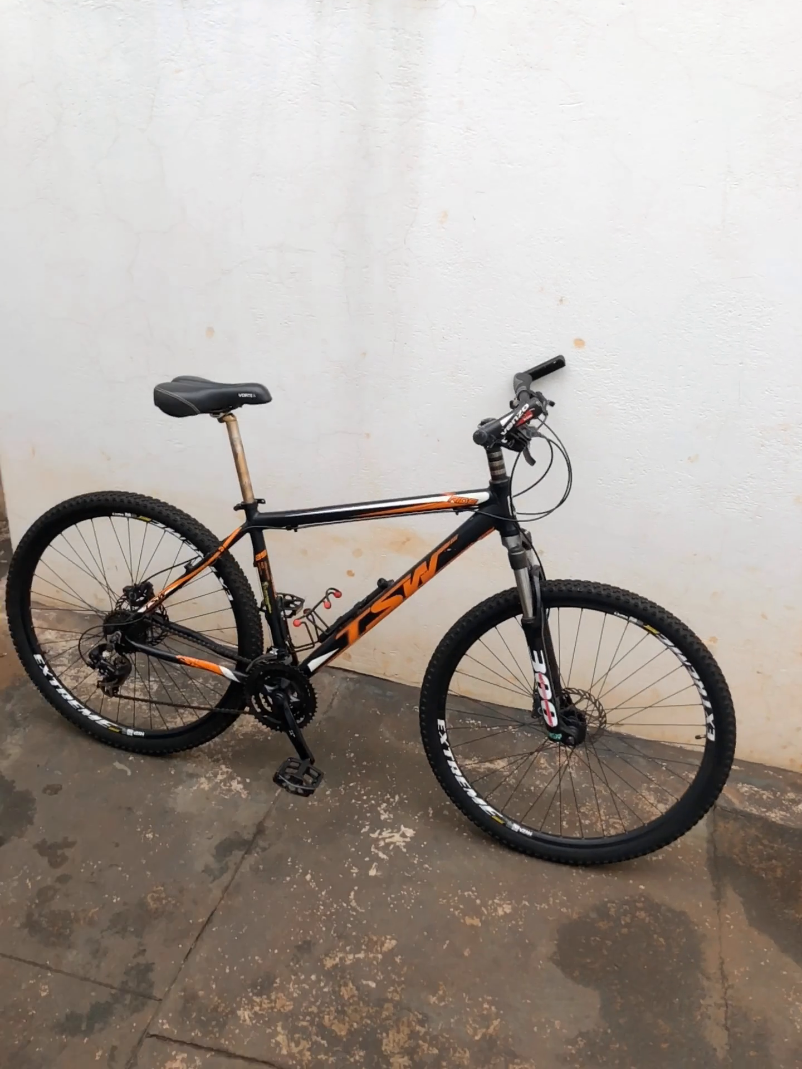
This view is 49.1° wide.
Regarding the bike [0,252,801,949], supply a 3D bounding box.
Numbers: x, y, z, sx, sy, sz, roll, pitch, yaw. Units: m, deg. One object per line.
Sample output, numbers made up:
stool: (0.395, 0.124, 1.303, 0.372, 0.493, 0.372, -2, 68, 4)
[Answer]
bike: (-0.118, 0.062, 2.032, 1.763, 1.084, 0.726, 10, 28, 11)
